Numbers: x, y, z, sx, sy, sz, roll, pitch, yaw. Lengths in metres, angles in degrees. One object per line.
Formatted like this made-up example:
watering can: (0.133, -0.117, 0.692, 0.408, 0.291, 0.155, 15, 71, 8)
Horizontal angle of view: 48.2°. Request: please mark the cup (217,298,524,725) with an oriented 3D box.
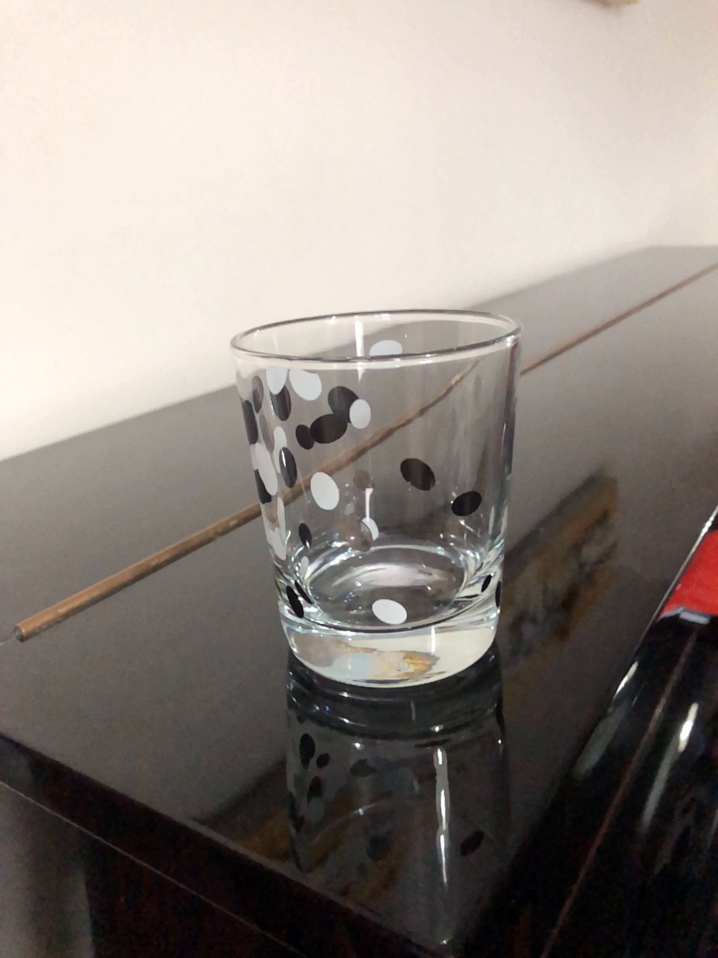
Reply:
cup: (0.006, 0.004, 0.236, 0.070, 0.099, 0.080, -3, 18, 2)
